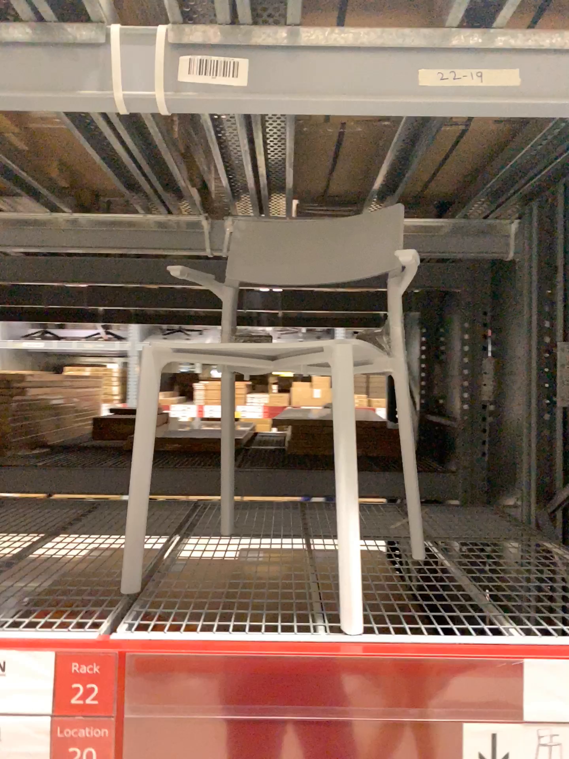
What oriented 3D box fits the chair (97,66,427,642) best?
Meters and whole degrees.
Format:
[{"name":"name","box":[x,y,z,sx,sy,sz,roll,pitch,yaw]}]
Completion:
[{"name":"chair","box":[0.008,-0.040,1.165,0.480,0.820,0.550,1,-1,20]}]
